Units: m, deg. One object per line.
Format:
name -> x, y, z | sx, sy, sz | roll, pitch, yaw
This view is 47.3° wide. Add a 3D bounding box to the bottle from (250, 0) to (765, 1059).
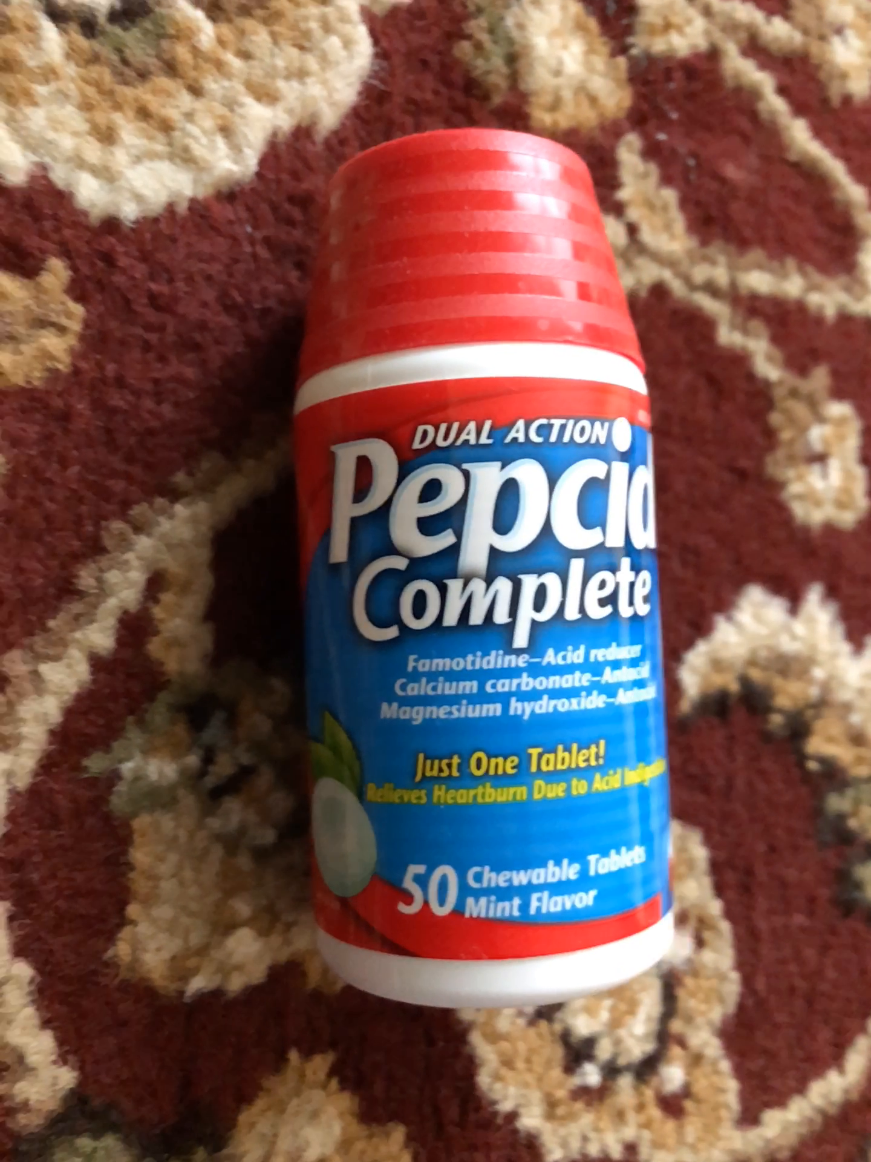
bottle -> 0.005, -0.009, 0.153 | 0.060, 0.060, 0.130 | -2, 89, -9
